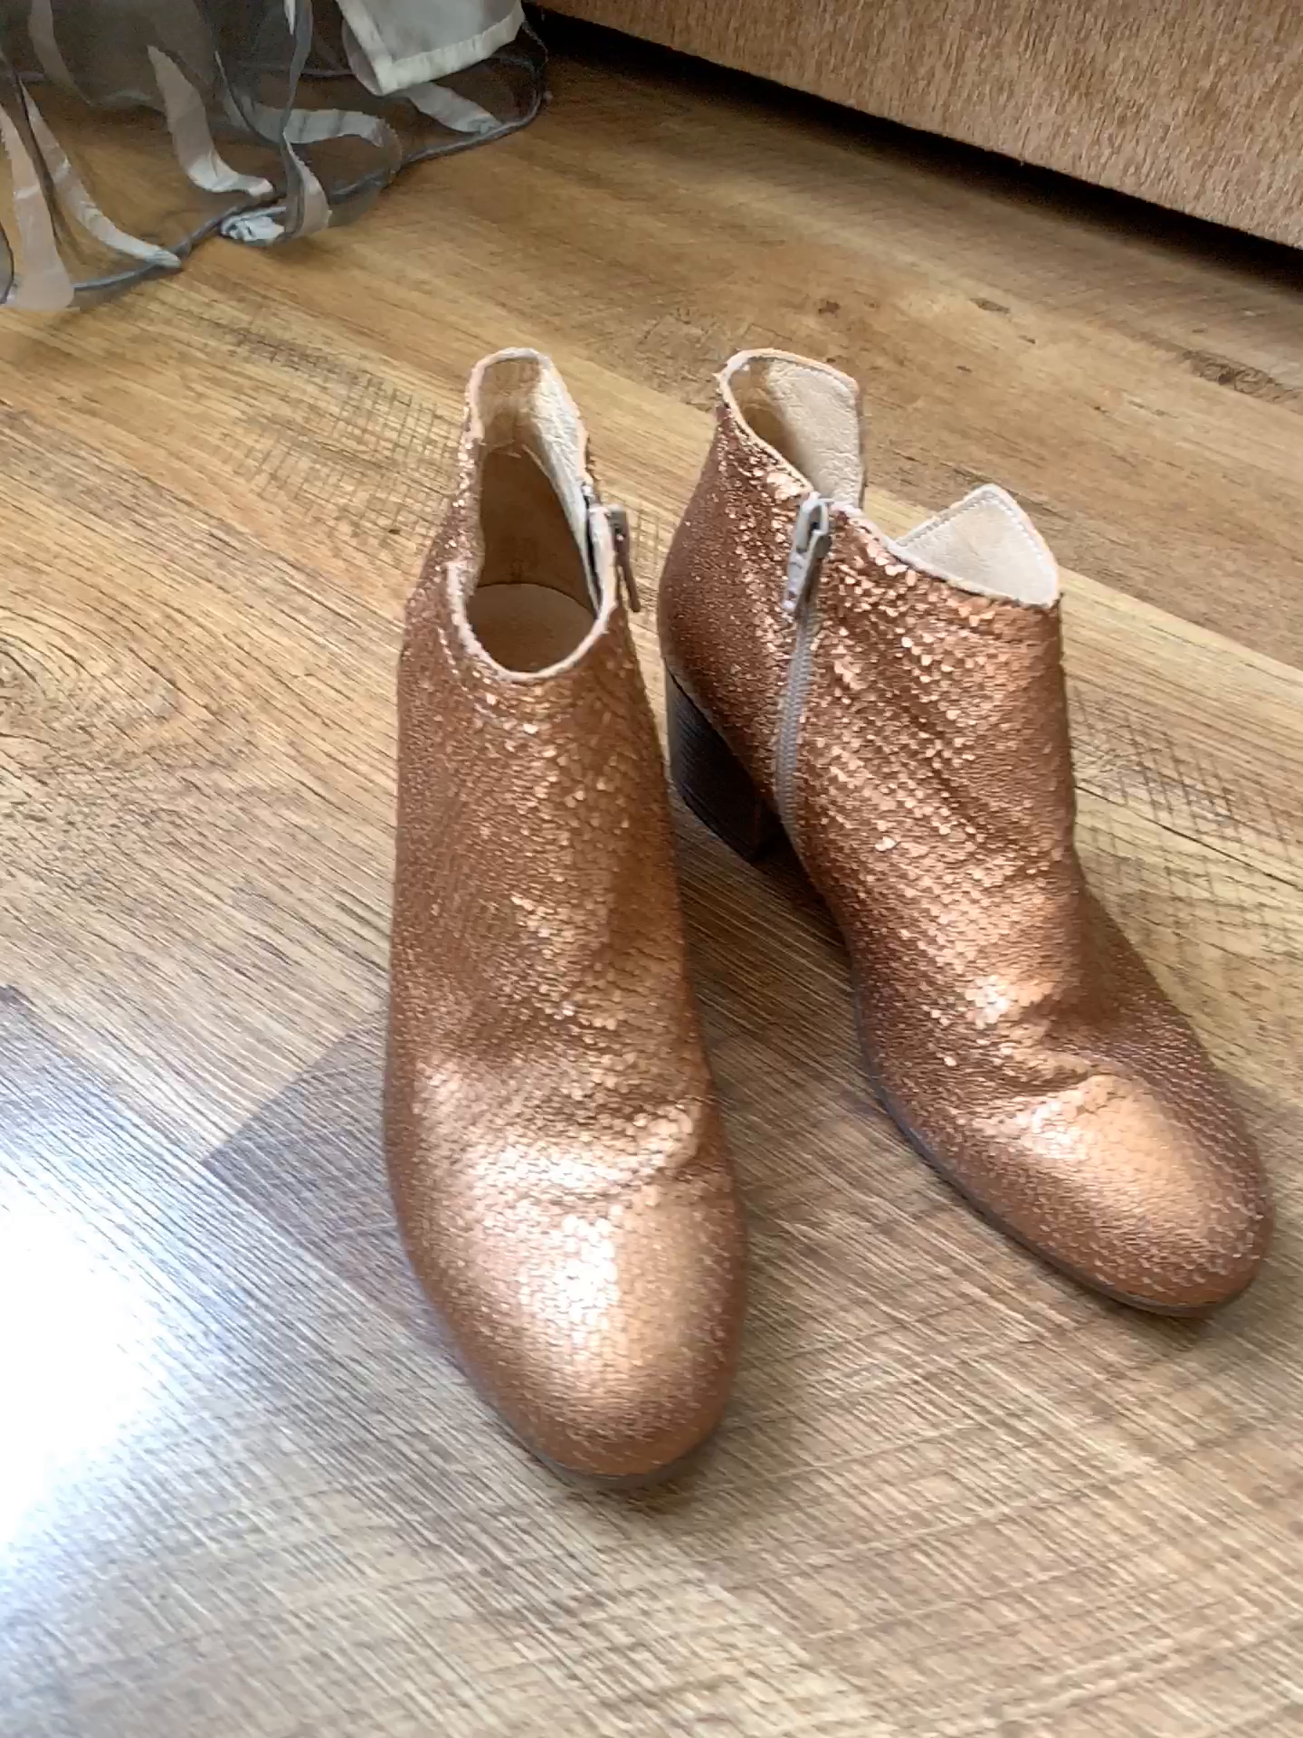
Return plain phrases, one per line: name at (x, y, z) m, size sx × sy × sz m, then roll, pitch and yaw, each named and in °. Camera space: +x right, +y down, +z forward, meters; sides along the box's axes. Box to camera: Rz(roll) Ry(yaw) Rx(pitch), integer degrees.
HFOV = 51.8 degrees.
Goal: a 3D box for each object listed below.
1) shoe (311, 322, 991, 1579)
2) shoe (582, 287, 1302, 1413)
shoe at (-0.019, 0.002, 0.276) m, size 0.080 × 0.129 × 0.221 m, roll -4°, pitch 48°, yaw -9°
shoe at (0.075, -0.016, 0.308) m, size 0.080 × 0.129 × 0.221 m, roll -22°, pitch 53°, yaw -23°
